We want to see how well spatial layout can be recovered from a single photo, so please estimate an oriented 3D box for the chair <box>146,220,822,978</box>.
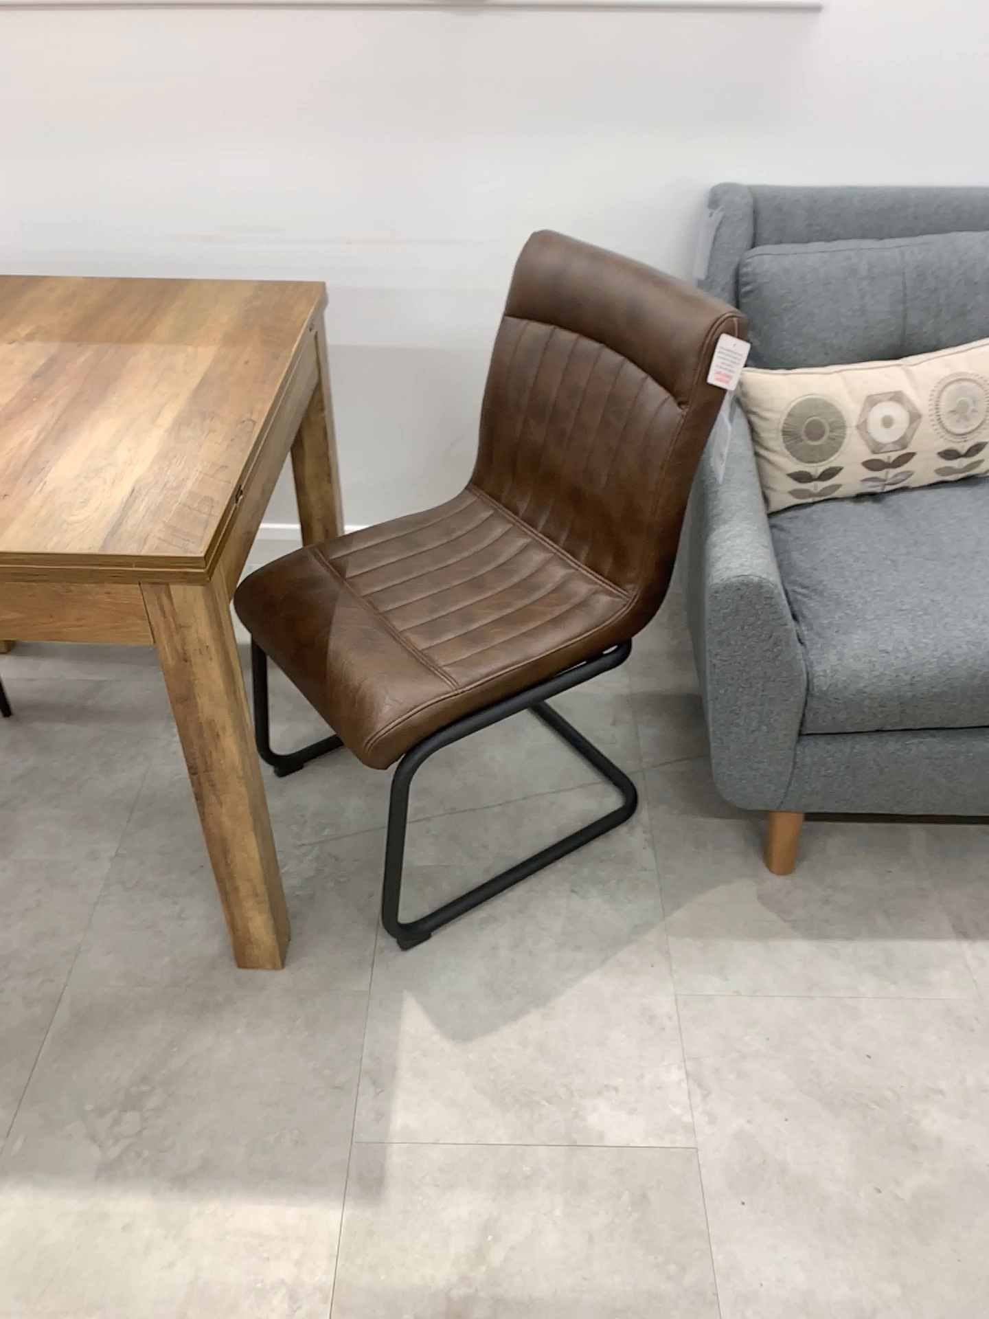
[{"bbox_3d":[-0.022,-0.107,1.442,0.633,0.773,0.501,-23,45,-26],"label":"chair"}]
